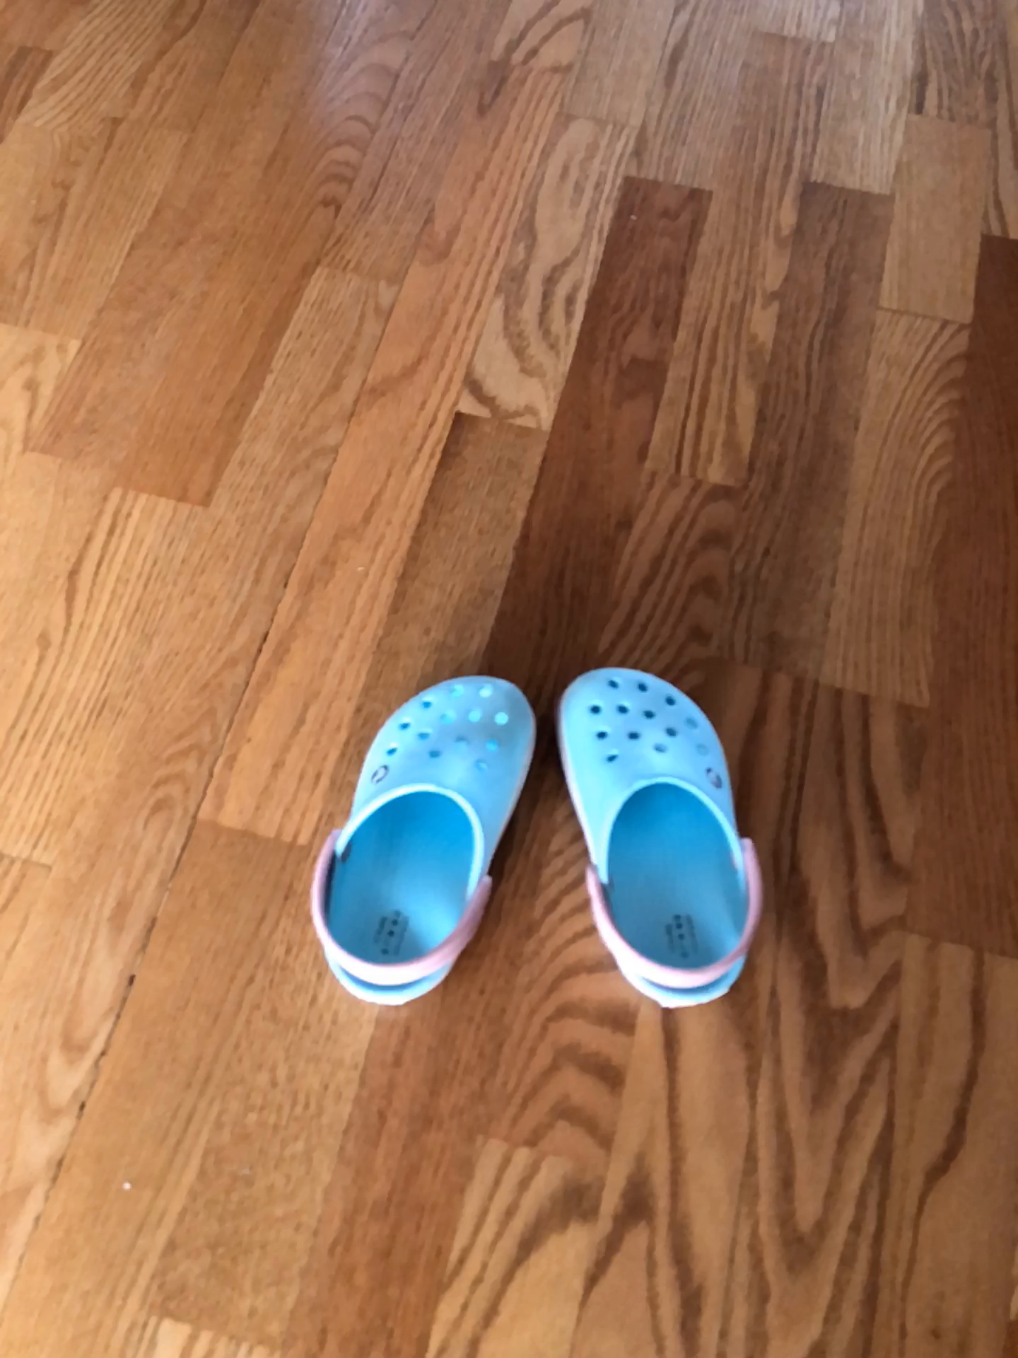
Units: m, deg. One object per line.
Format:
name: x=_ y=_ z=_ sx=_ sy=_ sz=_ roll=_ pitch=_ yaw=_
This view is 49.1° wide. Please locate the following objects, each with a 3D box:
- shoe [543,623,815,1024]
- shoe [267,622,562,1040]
shoe: x=0.071 y=0.064 z=0.512 sx=0.083 sy=0.048 sz=0.165 roll=-8 pitch=65 yaw=-4
shoe: x=-0.038 y=0.067 z=0.513 sx=0.083 sy=0.057 sz=0.165 roll=14 pitch=66 yaw=6
